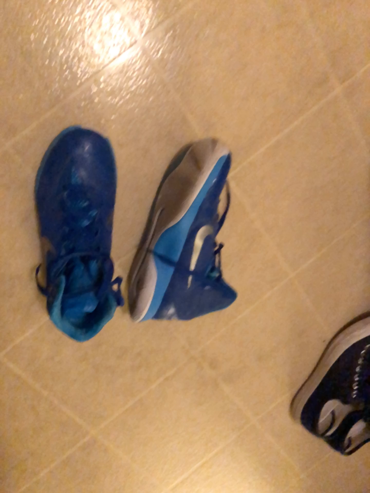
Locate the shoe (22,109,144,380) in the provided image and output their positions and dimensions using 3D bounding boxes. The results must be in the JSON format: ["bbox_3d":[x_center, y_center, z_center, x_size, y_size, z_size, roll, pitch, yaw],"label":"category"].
[{"bbox_3d":[-0.132,-0.009,0.532,0.120,0.145,0.310,-1,109,-17],"label":"shoe"}]

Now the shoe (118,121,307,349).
[{"bbox_3d":[0.028,-0.012,0.586,0.159,0.120,0.281,10,106,-26],"label":"shoe"}]
